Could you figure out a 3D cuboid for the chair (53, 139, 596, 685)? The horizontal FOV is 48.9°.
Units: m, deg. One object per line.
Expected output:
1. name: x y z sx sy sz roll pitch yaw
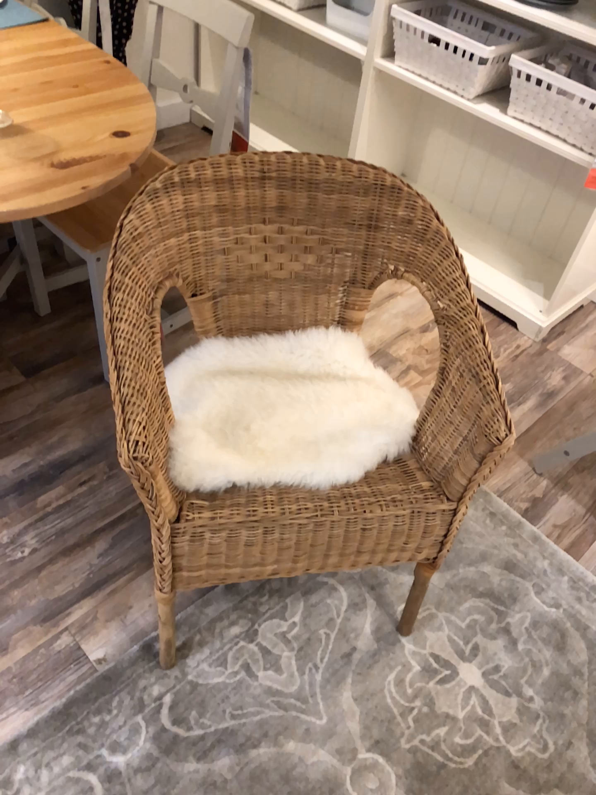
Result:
1. chair: -0.021 0.029 1.206 0.650 0.717 0.632 -2 46 -11
